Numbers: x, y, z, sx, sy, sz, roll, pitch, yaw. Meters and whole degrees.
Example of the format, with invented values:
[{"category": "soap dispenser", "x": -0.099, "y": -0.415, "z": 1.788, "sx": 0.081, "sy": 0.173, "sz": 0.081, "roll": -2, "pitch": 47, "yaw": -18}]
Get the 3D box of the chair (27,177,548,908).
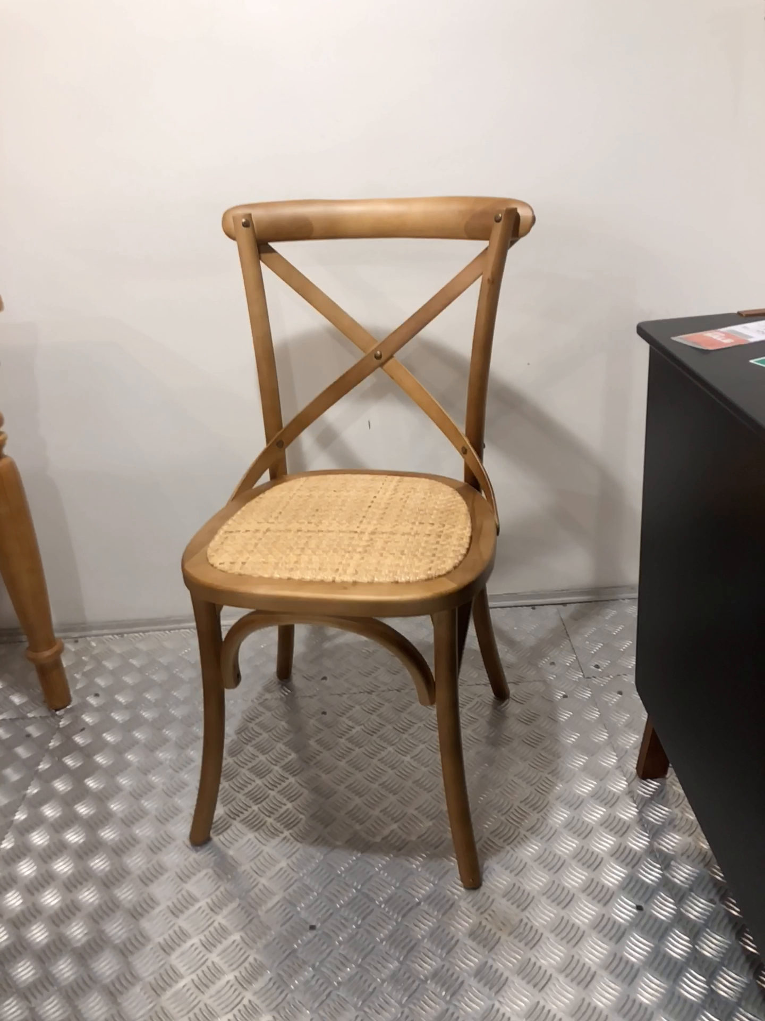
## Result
[{"category": "chair", "x": -0.039, "y": 0.009, "z": 1.252, "sx": 0.500, "sy": 0.874, "sz": 0.544, "roll": 3, "pitch": 26, "yaw": 16}]
